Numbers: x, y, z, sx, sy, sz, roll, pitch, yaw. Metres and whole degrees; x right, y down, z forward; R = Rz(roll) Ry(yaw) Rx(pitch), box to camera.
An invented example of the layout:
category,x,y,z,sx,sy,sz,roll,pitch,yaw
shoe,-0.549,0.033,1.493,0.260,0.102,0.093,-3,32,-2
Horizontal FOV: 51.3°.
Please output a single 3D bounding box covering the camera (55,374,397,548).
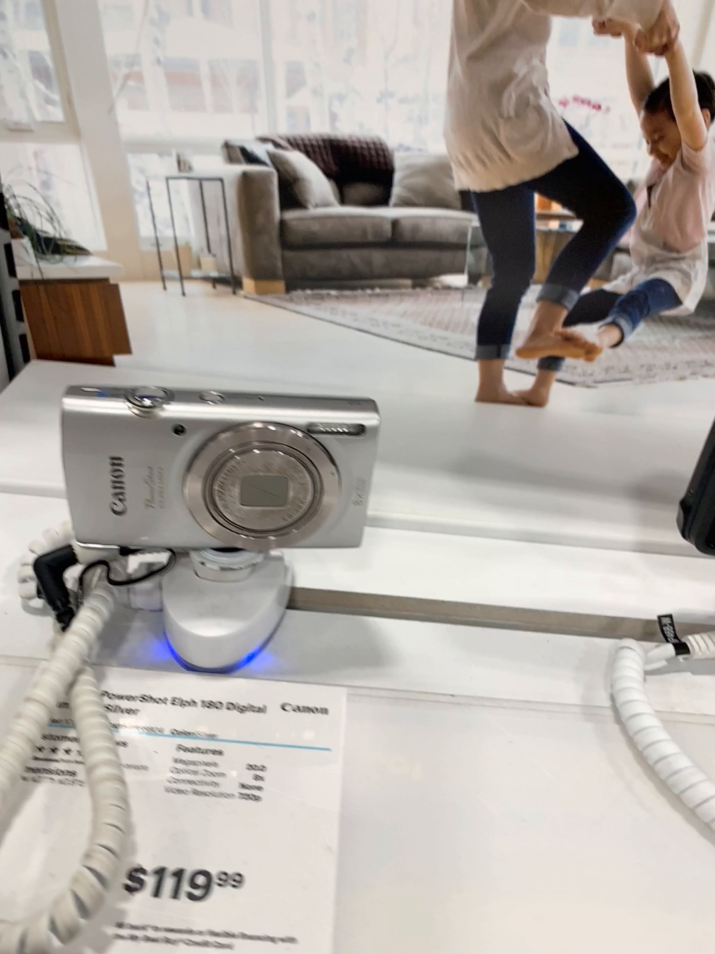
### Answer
category,x,y,z,sx,sy,sz,roll,pitch,yaw
camera,-0.040,-0.003,0.241,0.098,0.051,0.022,1,39,-8
